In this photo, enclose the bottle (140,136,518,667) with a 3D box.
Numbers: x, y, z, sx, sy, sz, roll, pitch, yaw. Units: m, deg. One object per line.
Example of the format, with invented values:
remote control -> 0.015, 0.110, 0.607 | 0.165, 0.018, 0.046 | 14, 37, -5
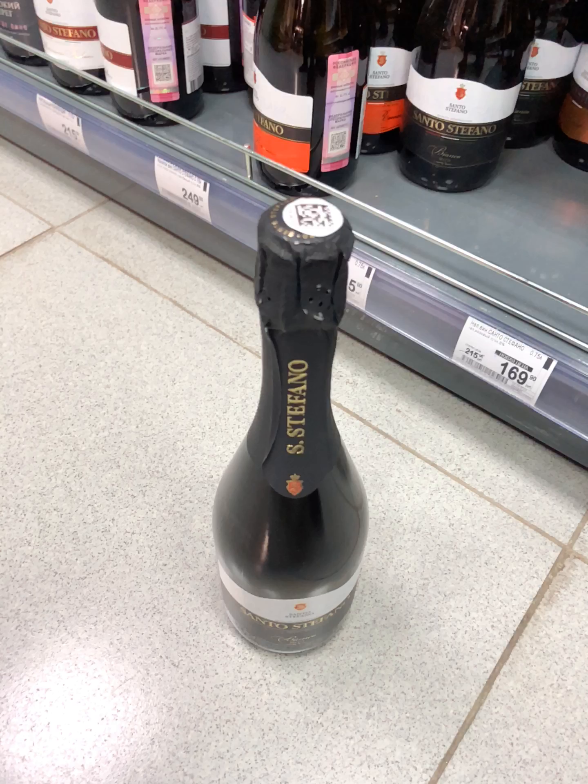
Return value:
bottle -> 0.004, 0.036, 0.332 | 0.110, 0.298, 0.101 | 1, 48, -1
